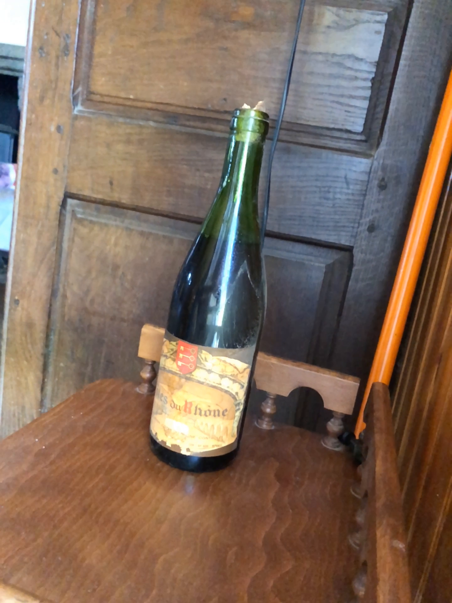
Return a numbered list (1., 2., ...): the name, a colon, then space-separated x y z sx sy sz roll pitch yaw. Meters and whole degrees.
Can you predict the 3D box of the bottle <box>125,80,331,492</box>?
1. bottle: 0.001 -0.012 0.394 0.090 0.279 0.090 9 12 -2
